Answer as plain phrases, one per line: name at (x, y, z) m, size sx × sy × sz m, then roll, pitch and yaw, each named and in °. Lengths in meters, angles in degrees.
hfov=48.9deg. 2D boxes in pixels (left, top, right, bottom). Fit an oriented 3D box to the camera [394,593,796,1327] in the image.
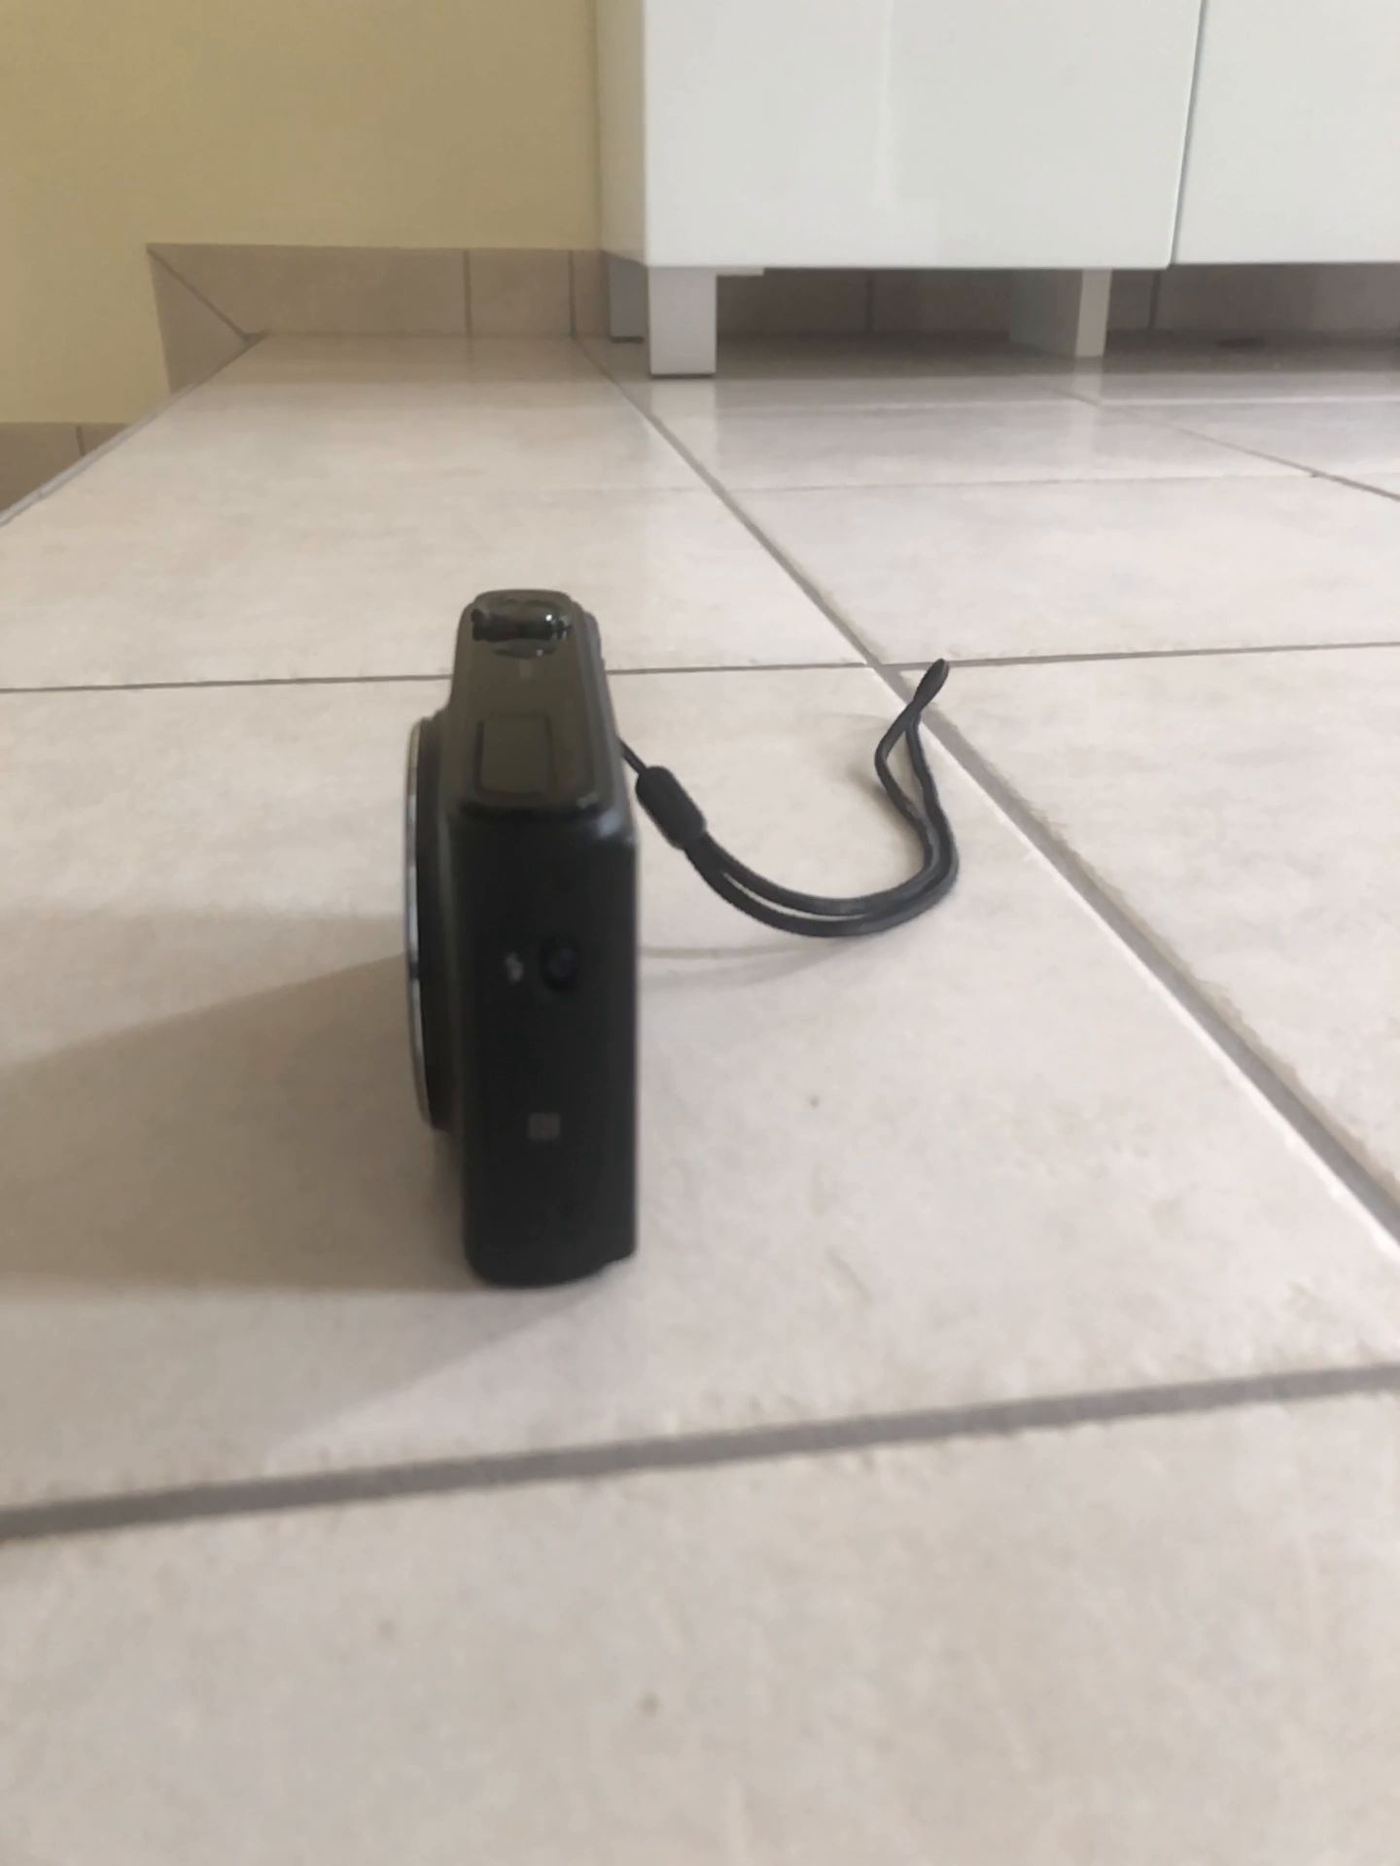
camera at (-0.015, -0.006, 0.216) m, size 0.040 × 0.060 × 0.111 m, roll -2°, pitch 24°, yaw -4°
